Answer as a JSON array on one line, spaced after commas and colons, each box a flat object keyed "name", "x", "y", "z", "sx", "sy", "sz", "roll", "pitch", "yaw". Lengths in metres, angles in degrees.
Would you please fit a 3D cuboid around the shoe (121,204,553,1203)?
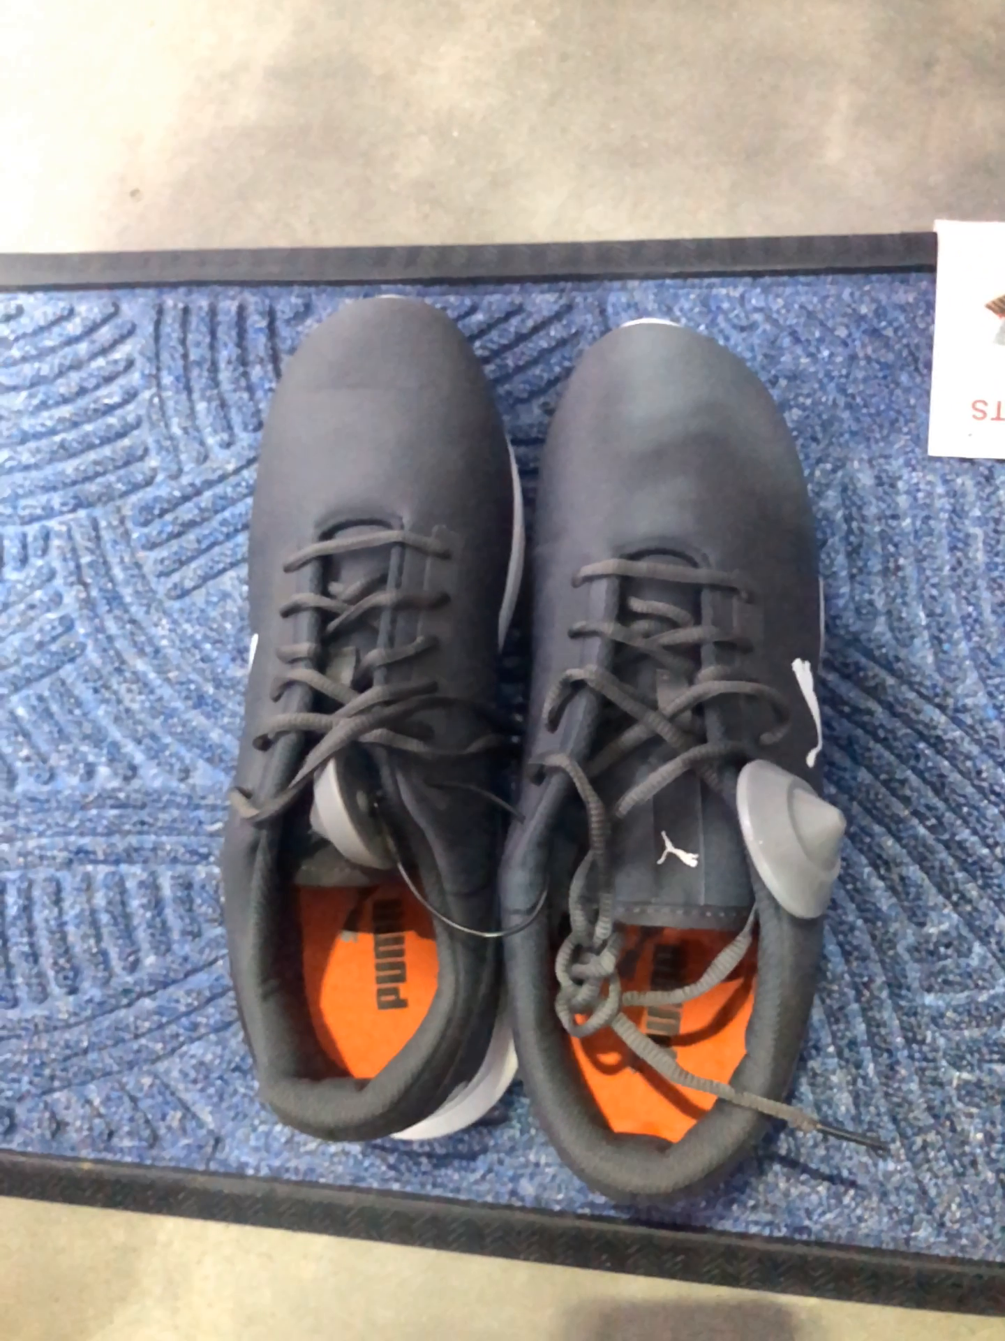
[{"name": "shoe", "x": -0.046, "y": 0.007, "z": 0.392, "sx": 0.110, "sy": 0.100, "sz": 0.300, "roll": 0, "pitch": 81, "yaw": 9}]

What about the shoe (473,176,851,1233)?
[{"name": "shoe", "x": 0.056, "y": 0.005, "z": 0.372, "sx": 0.100, "sy": 0.100, "sz": 0.300, "roll": 1, "pitch": 81, "yaw": 9}]
